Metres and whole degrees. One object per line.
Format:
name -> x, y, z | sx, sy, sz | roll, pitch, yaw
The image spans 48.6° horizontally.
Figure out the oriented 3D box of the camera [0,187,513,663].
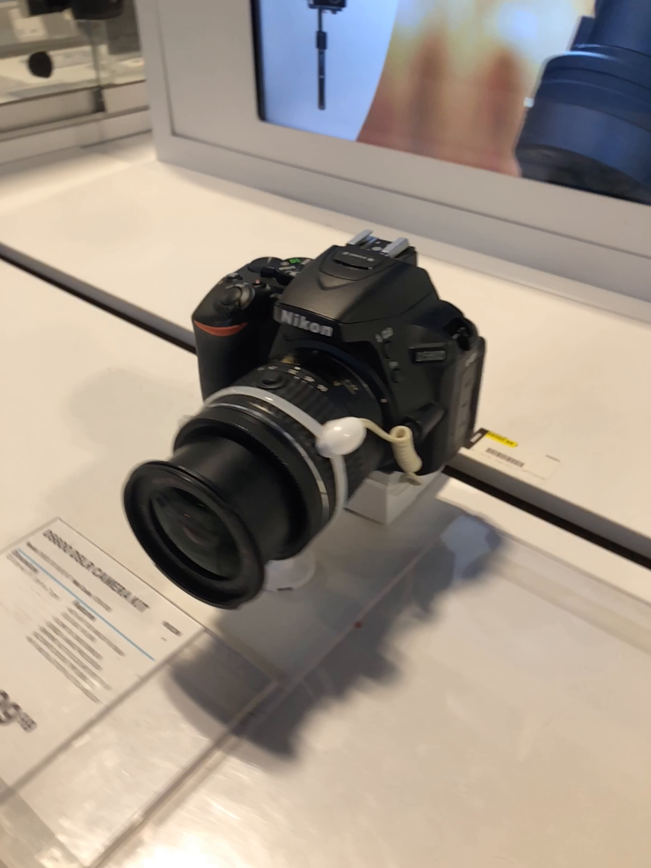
camera -> -0.022, -0.022, 0.284 | 0.130, 0.089, 0.151 | 21, 41, 26
